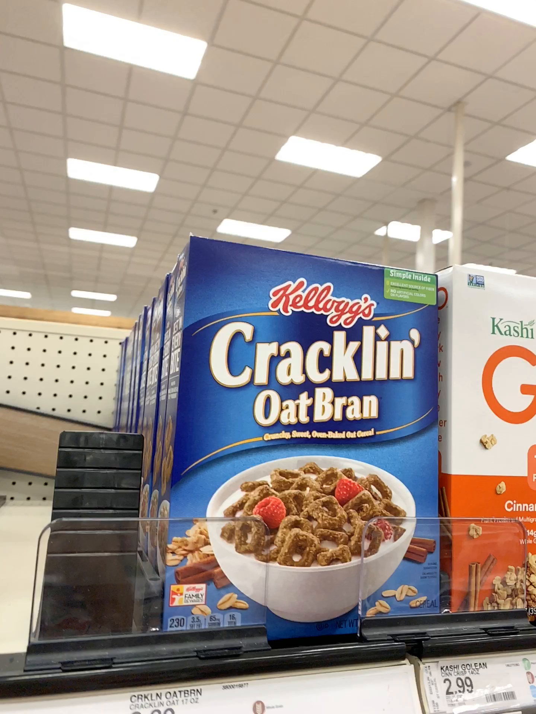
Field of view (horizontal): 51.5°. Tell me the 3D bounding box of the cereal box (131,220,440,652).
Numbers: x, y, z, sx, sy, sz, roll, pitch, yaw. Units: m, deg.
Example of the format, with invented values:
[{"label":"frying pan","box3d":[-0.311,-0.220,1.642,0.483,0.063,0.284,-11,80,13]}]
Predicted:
[{"label":"cereal box","box3d":[0.020,0.049,0.370,0.190,0.240,0.050,6,-8,-22]}]
